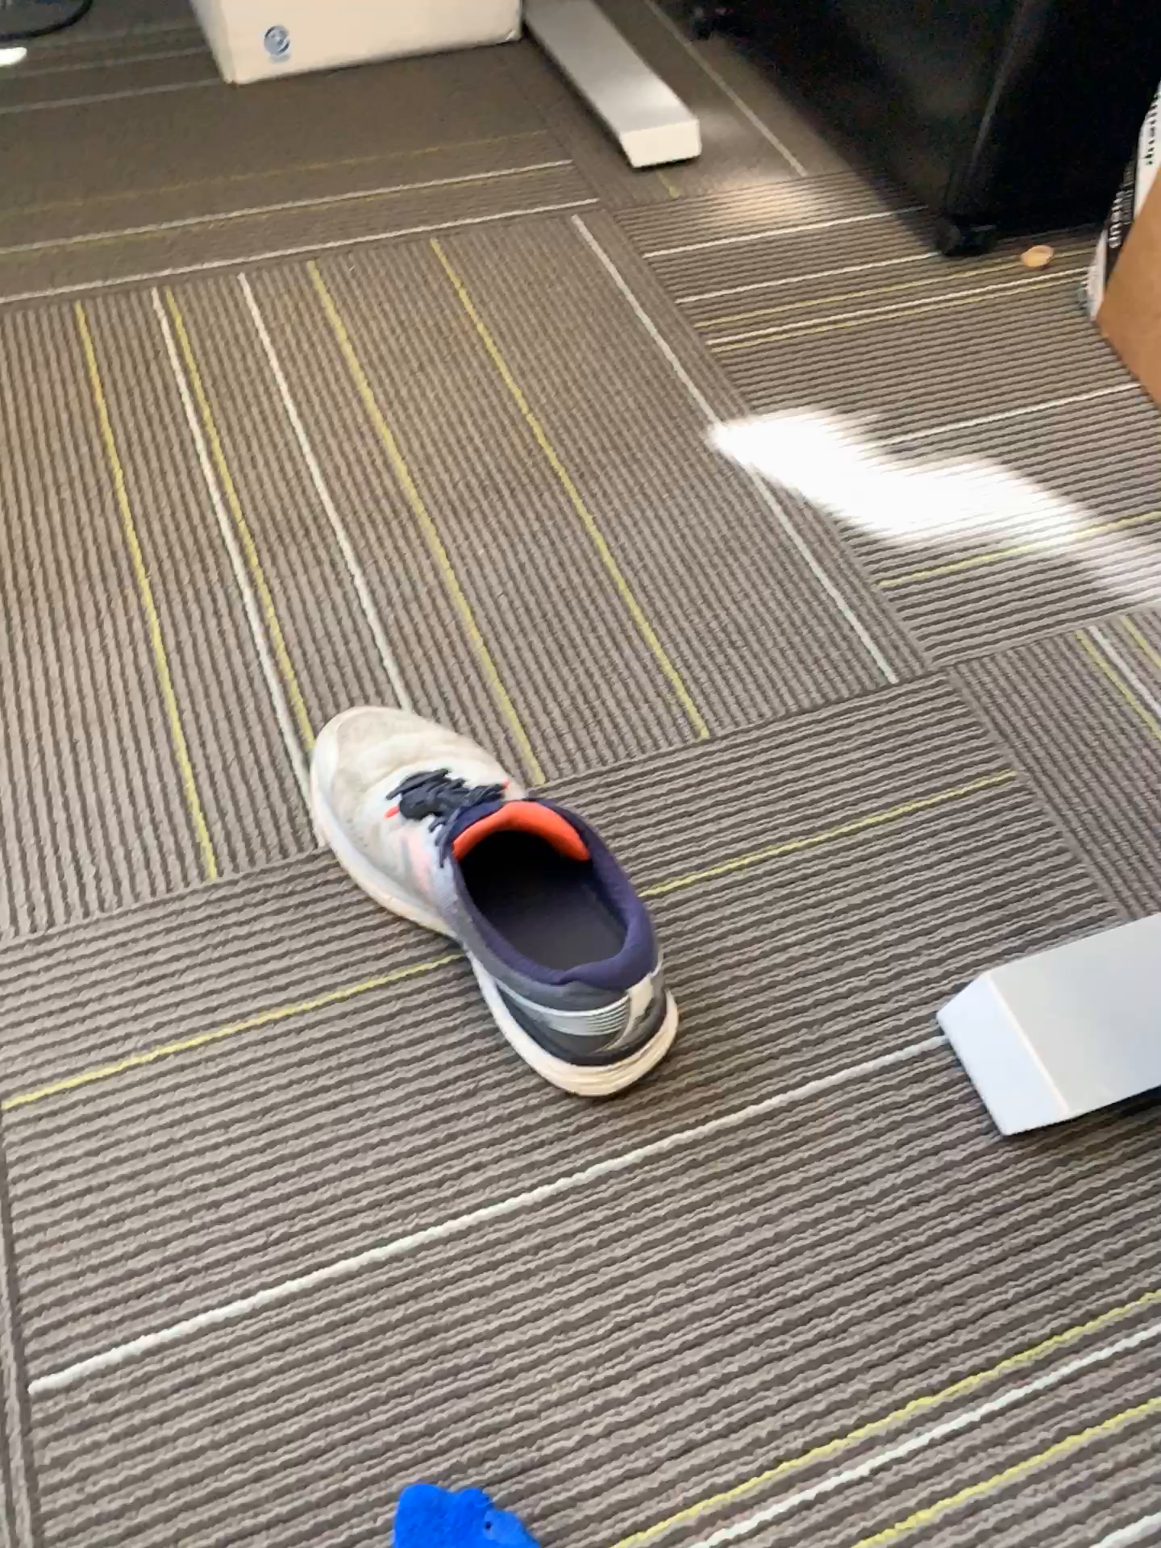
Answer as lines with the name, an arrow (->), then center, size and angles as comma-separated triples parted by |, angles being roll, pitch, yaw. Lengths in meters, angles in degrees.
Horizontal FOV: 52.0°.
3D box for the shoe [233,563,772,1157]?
shoe -> -0.051, 0.035, 0.637 | 0.110, 0.110, 0.301 | -32, 61, -23
